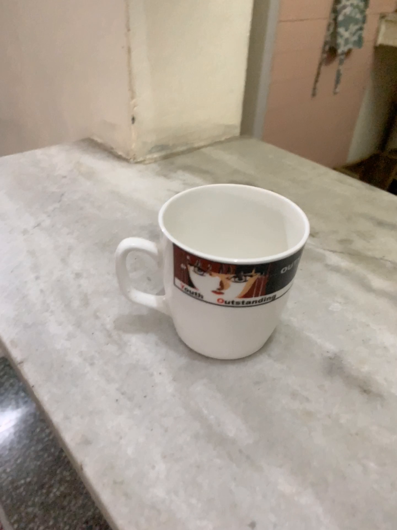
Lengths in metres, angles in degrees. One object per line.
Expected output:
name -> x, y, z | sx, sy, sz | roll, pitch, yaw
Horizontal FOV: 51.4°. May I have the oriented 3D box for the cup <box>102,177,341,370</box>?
cup -> 0.008, 0.002, 0.201 | 0.090, 0.060, 0.070 | 2, 36, -1
